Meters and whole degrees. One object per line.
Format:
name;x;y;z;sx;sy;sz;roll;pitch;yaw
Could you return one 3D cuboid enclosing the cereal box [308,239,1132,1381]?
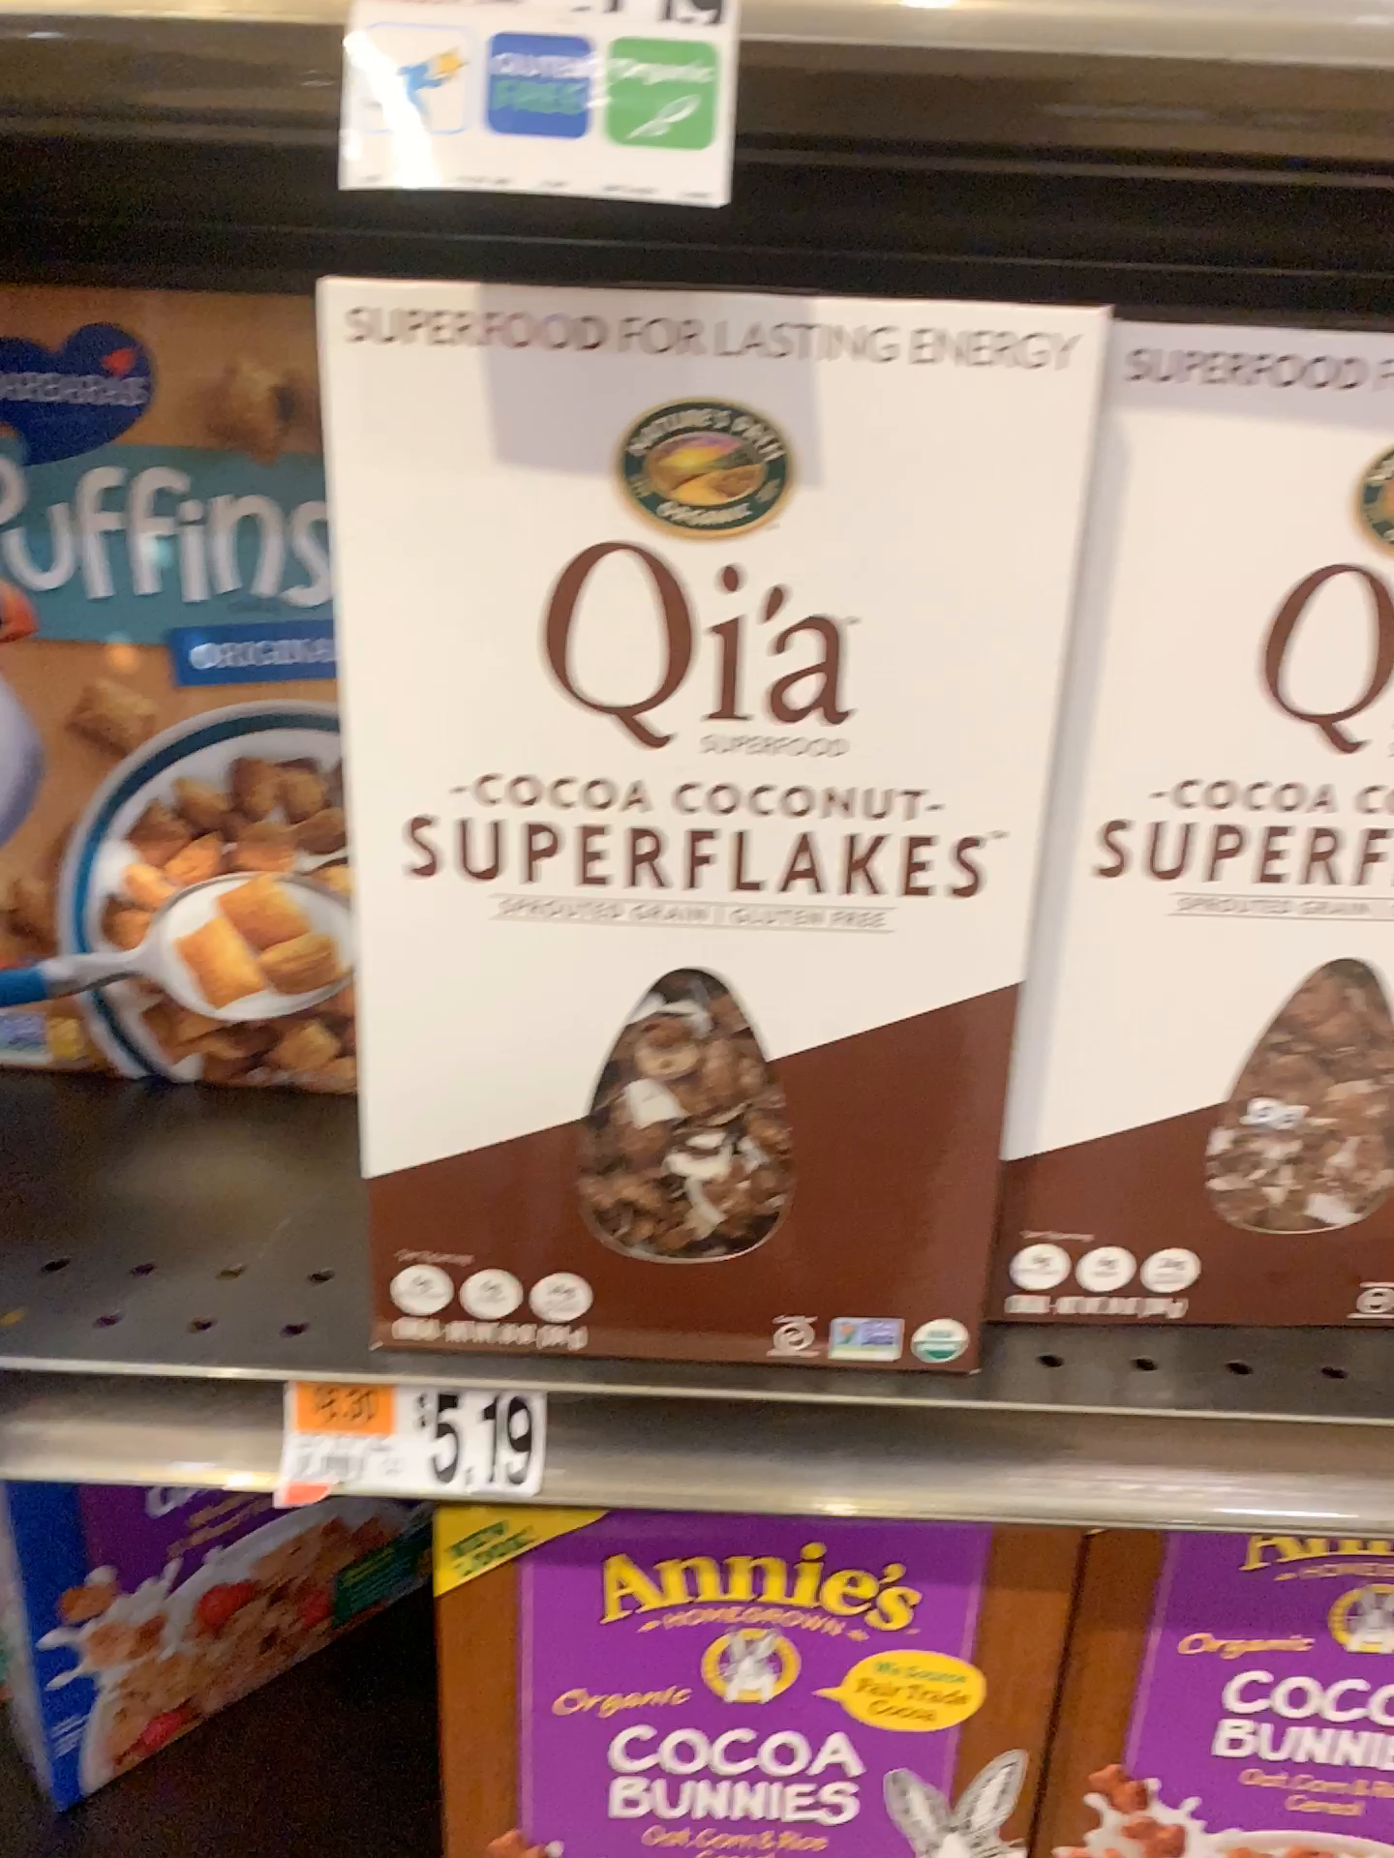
cereal box;0.000;-0.020;0.351;0.160;0.259;0.060;2;20;0
